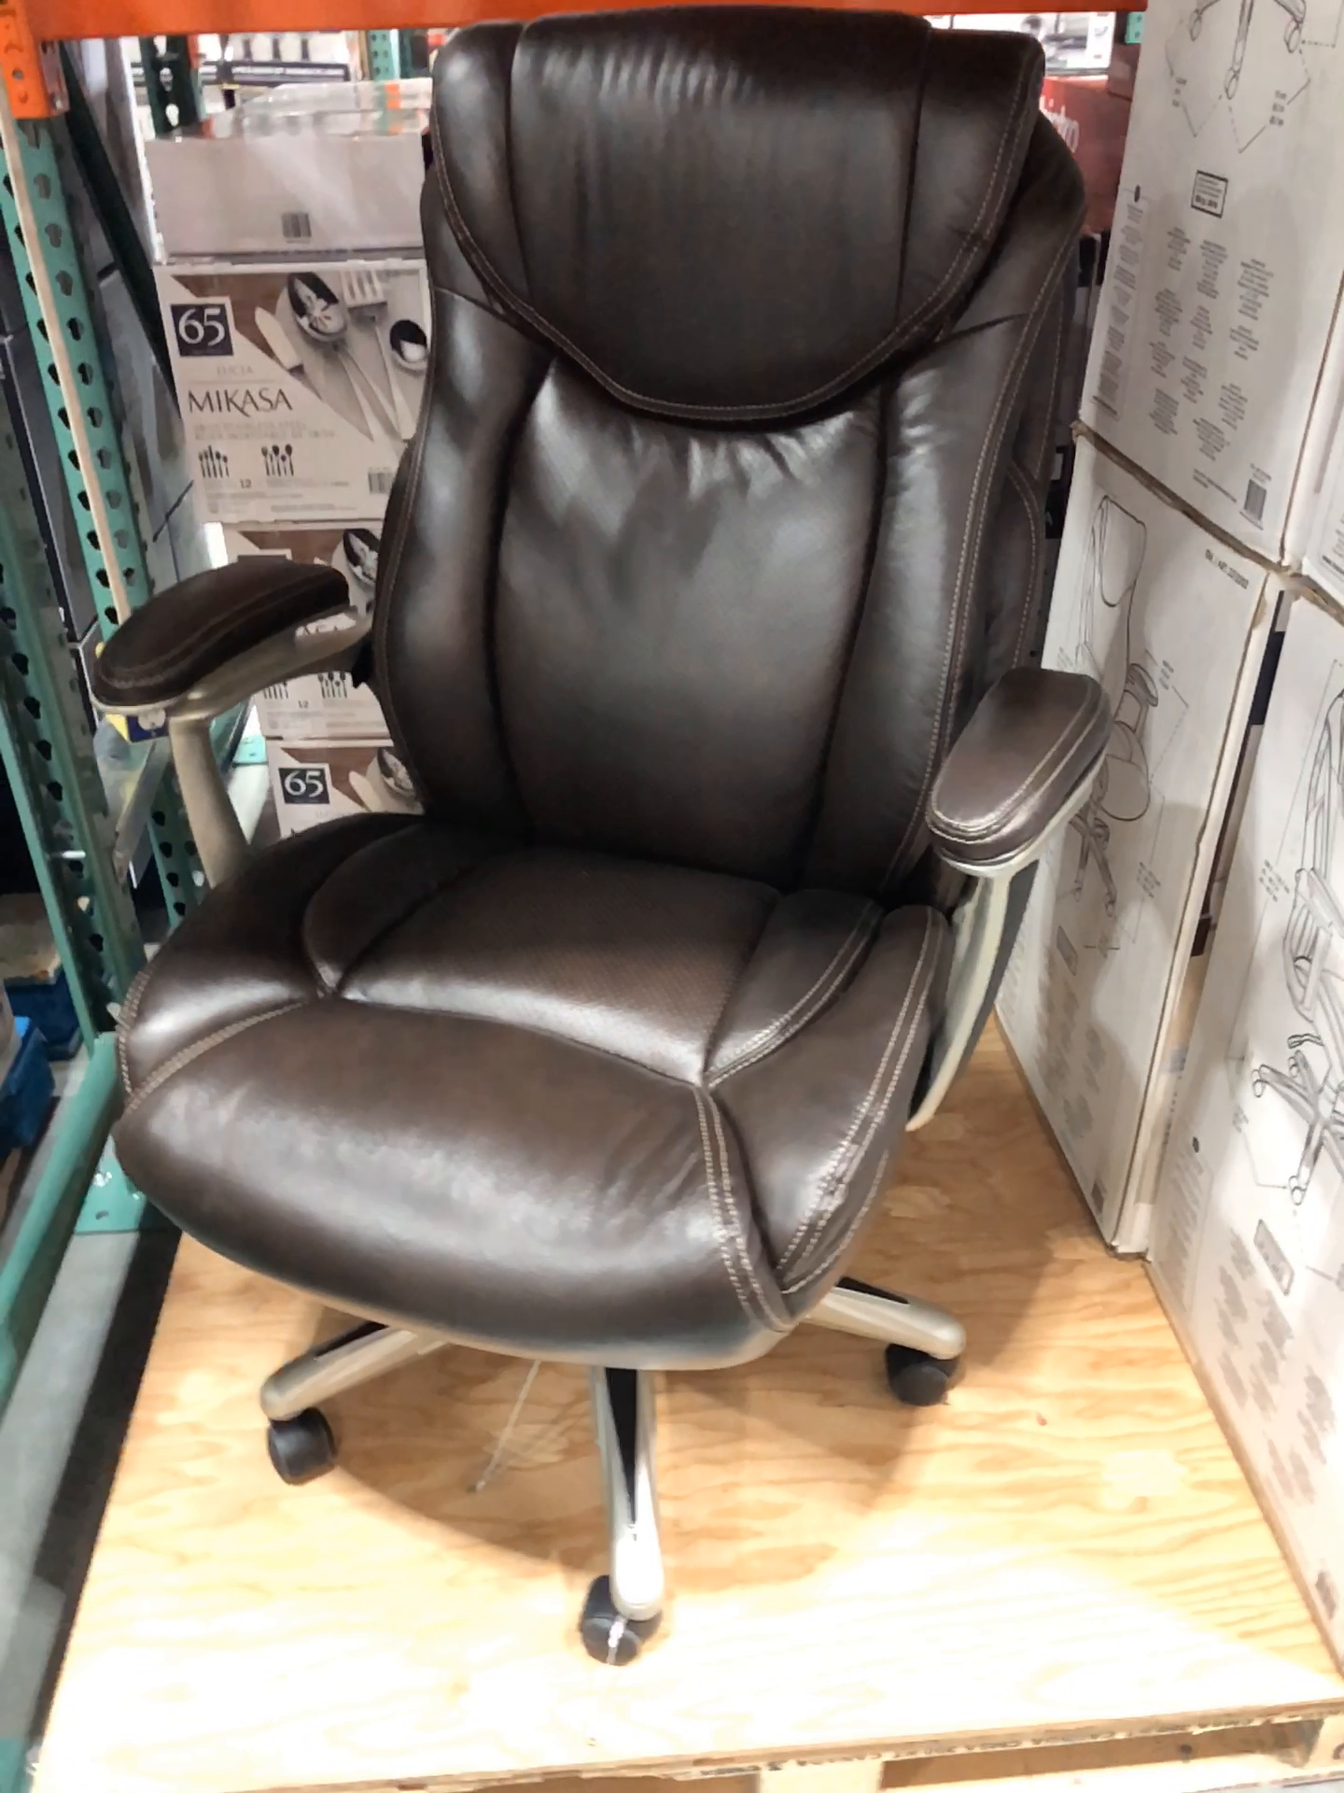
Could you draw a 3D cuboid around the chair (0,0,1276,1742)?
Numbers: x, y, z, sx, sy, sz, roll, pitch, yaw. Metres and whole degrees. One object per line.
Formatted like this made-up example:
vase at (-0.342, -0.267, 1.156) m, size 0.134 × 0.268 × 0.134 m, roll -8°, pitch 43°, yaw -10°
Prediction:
chair at (-0.035, -0.096, 1.118) m, size 0.660 × 1.095 × 0.723 m, roll 7°, pitch 33°, yaw 13°
